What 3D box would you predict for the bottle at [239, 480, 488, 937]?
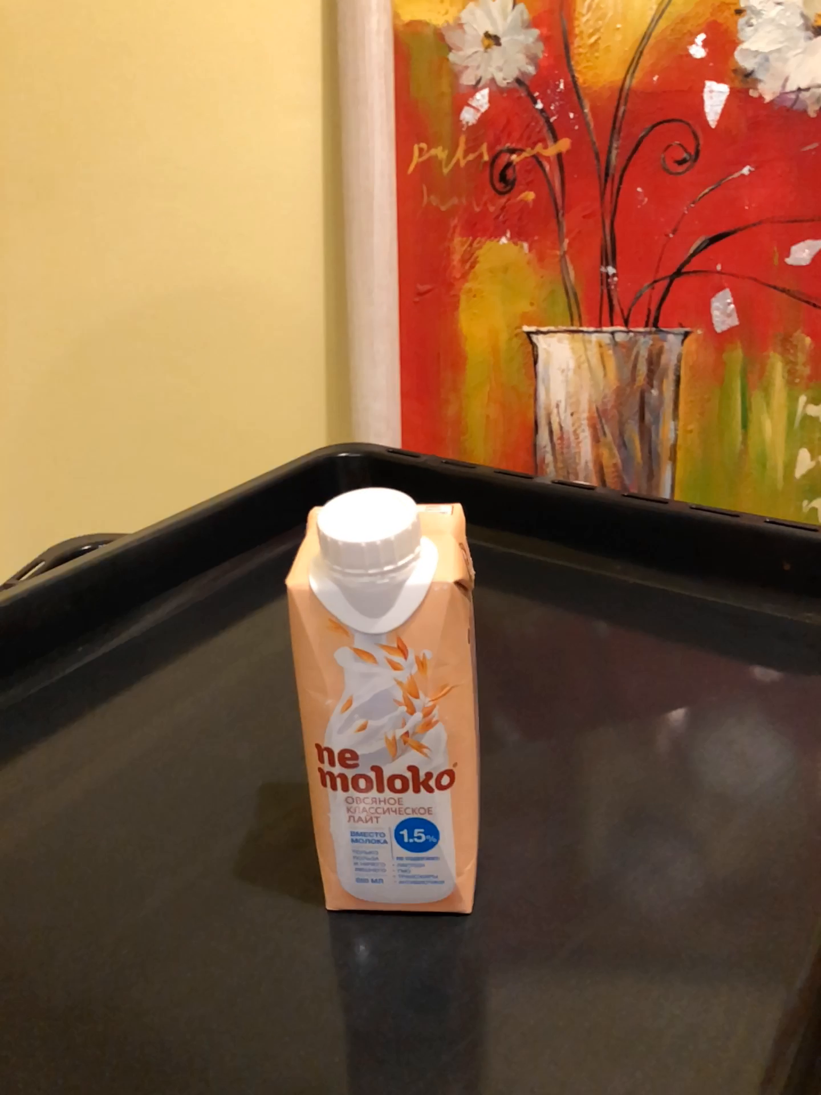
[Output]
[{"bbox_3d":[-0.008,0.047,0.271,0.060,0.119,0.060,-2,24,1],"label":"bottle"}]
